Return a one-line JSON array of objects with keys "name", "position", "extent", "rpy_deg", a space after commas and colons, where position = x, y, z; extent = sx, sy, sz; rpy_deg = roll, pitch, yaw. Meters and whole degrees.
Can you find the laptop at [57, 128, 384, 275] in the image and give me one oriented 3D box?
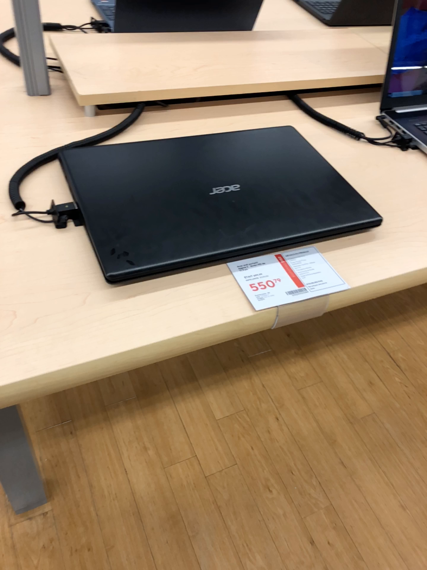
[{"name": "laptop", "position": [0.009, -0.149, 0.702], "extent": [0.417, 0.001, 0.268], "rpy_deg": [-13, 51, -21]}]
